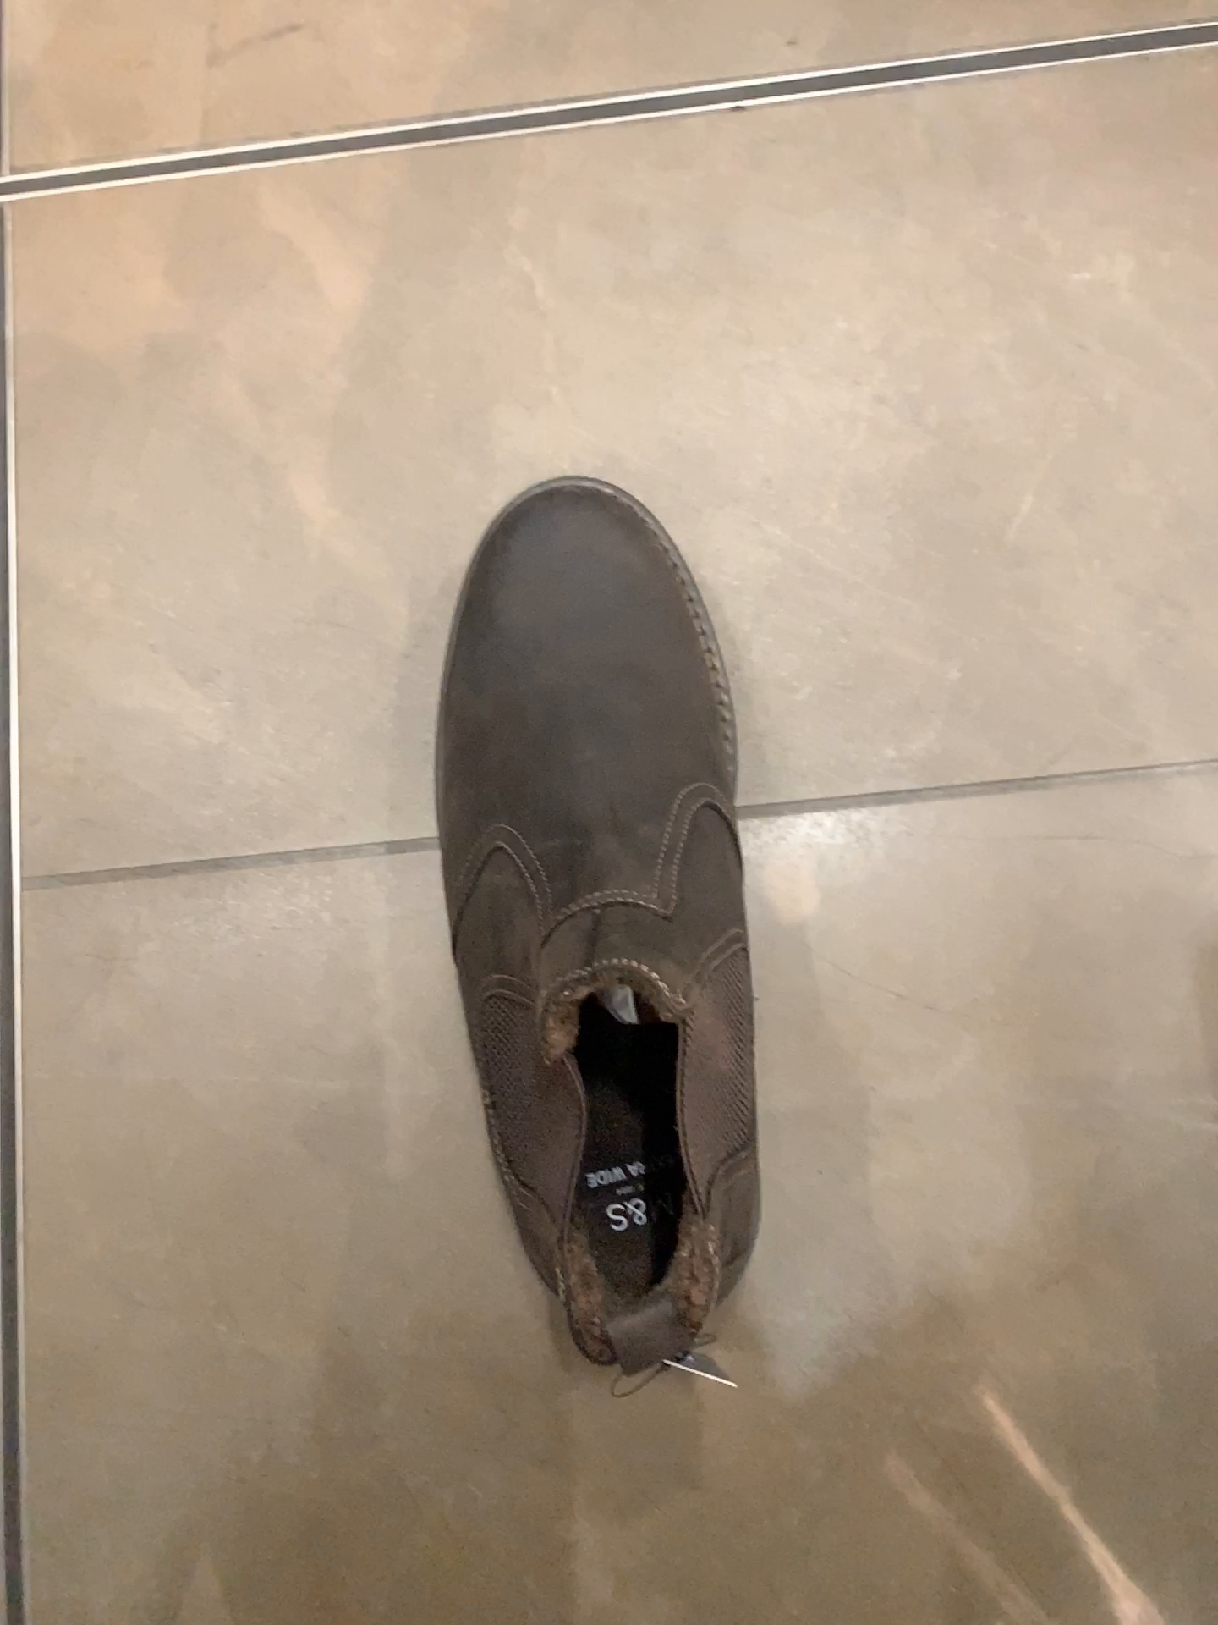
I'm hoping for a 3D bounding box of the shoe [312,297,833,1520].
[{"bbox_3d":[-0.009,0.026,0.400,0.114,0.166,0.304,-5,81,3],"label":"shoe"}]
